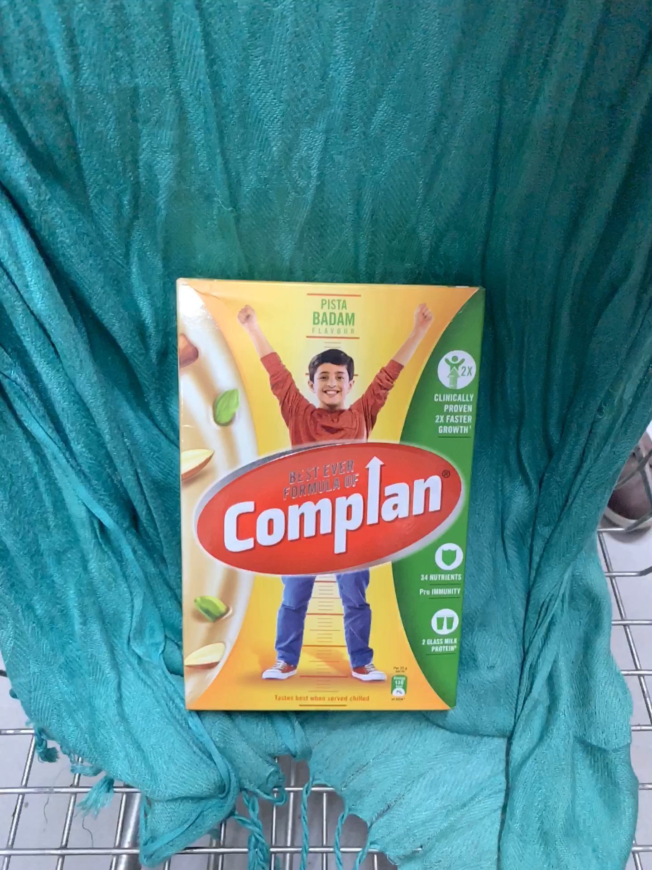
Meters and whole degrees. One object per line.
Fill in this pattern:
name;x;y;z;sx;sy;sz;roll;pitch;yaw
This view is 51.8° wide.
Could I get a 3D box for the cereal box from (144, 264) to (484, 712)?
cereal box;-0.005;0.023;0.323;0.140;0.060;0.200;0;100;-2
